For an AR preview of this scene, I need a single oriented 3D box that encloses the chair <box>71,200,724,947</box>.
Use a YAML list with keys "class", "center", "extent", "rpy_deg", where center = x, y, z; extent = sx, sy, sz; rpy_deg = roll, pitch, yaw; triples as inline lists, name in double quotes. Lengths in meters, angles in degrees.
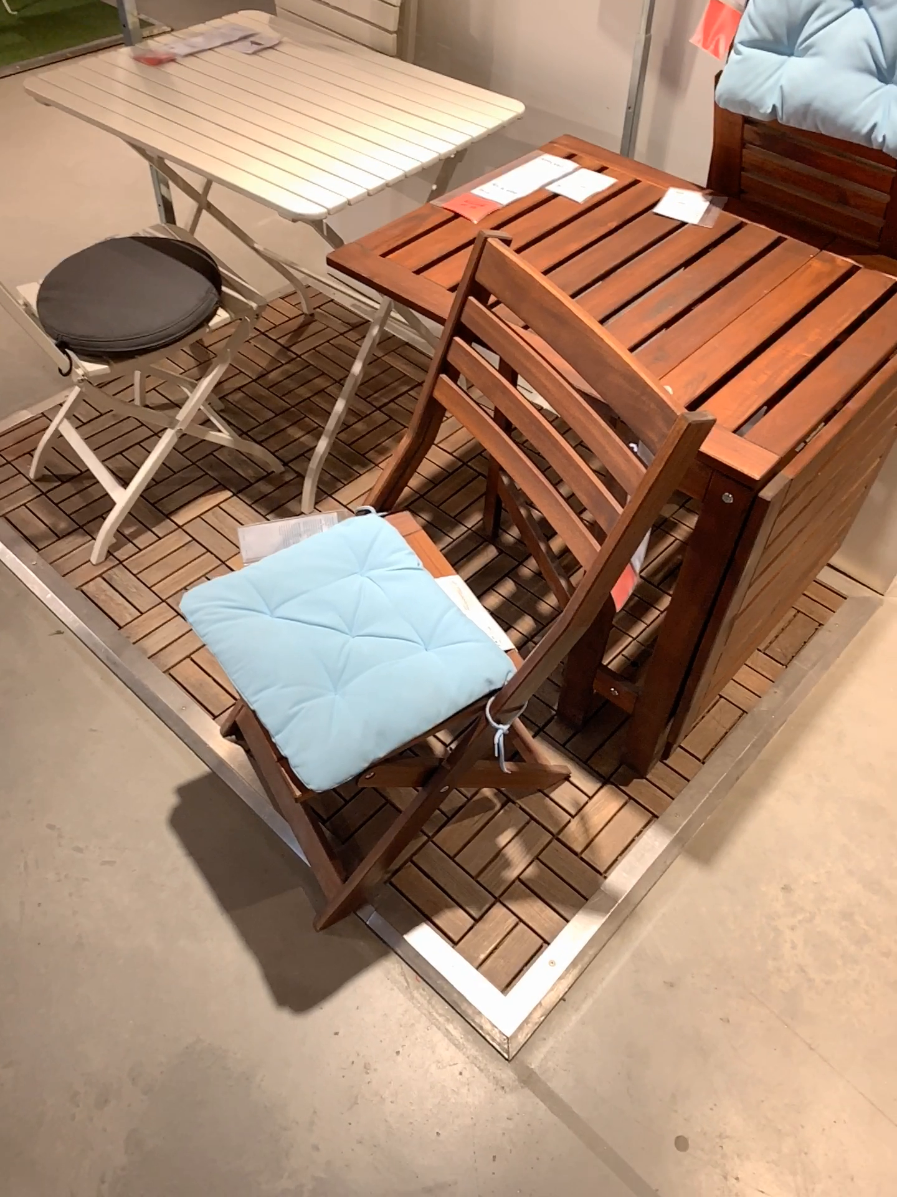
- class: "chair"
  center: [-0.081, -0.006, 1.239]
  extent: [0.520, 0.777, 0.471]
  rpy_deg: [-22, 53, -20]
